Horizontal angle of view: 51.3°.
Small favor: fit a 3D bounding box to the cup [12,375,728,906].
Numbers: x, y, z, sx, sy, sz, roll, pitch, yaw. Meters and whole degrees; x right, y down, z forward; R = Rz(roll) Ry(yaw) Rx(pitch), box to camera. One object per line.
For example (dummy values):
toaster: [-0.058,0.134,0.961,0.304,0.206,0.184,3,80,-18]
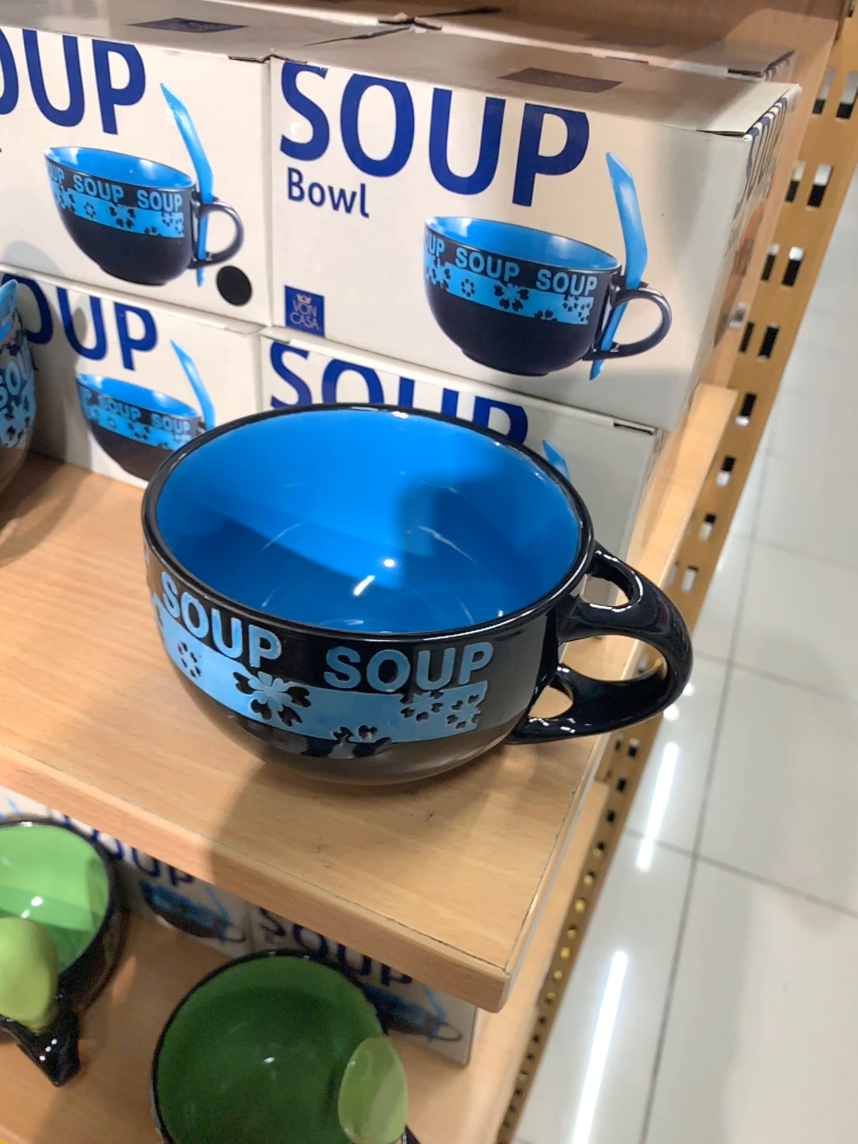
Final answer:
cup: [-0.007,0.008,0.237,0.150,0.060,0.100,13,36,7]
